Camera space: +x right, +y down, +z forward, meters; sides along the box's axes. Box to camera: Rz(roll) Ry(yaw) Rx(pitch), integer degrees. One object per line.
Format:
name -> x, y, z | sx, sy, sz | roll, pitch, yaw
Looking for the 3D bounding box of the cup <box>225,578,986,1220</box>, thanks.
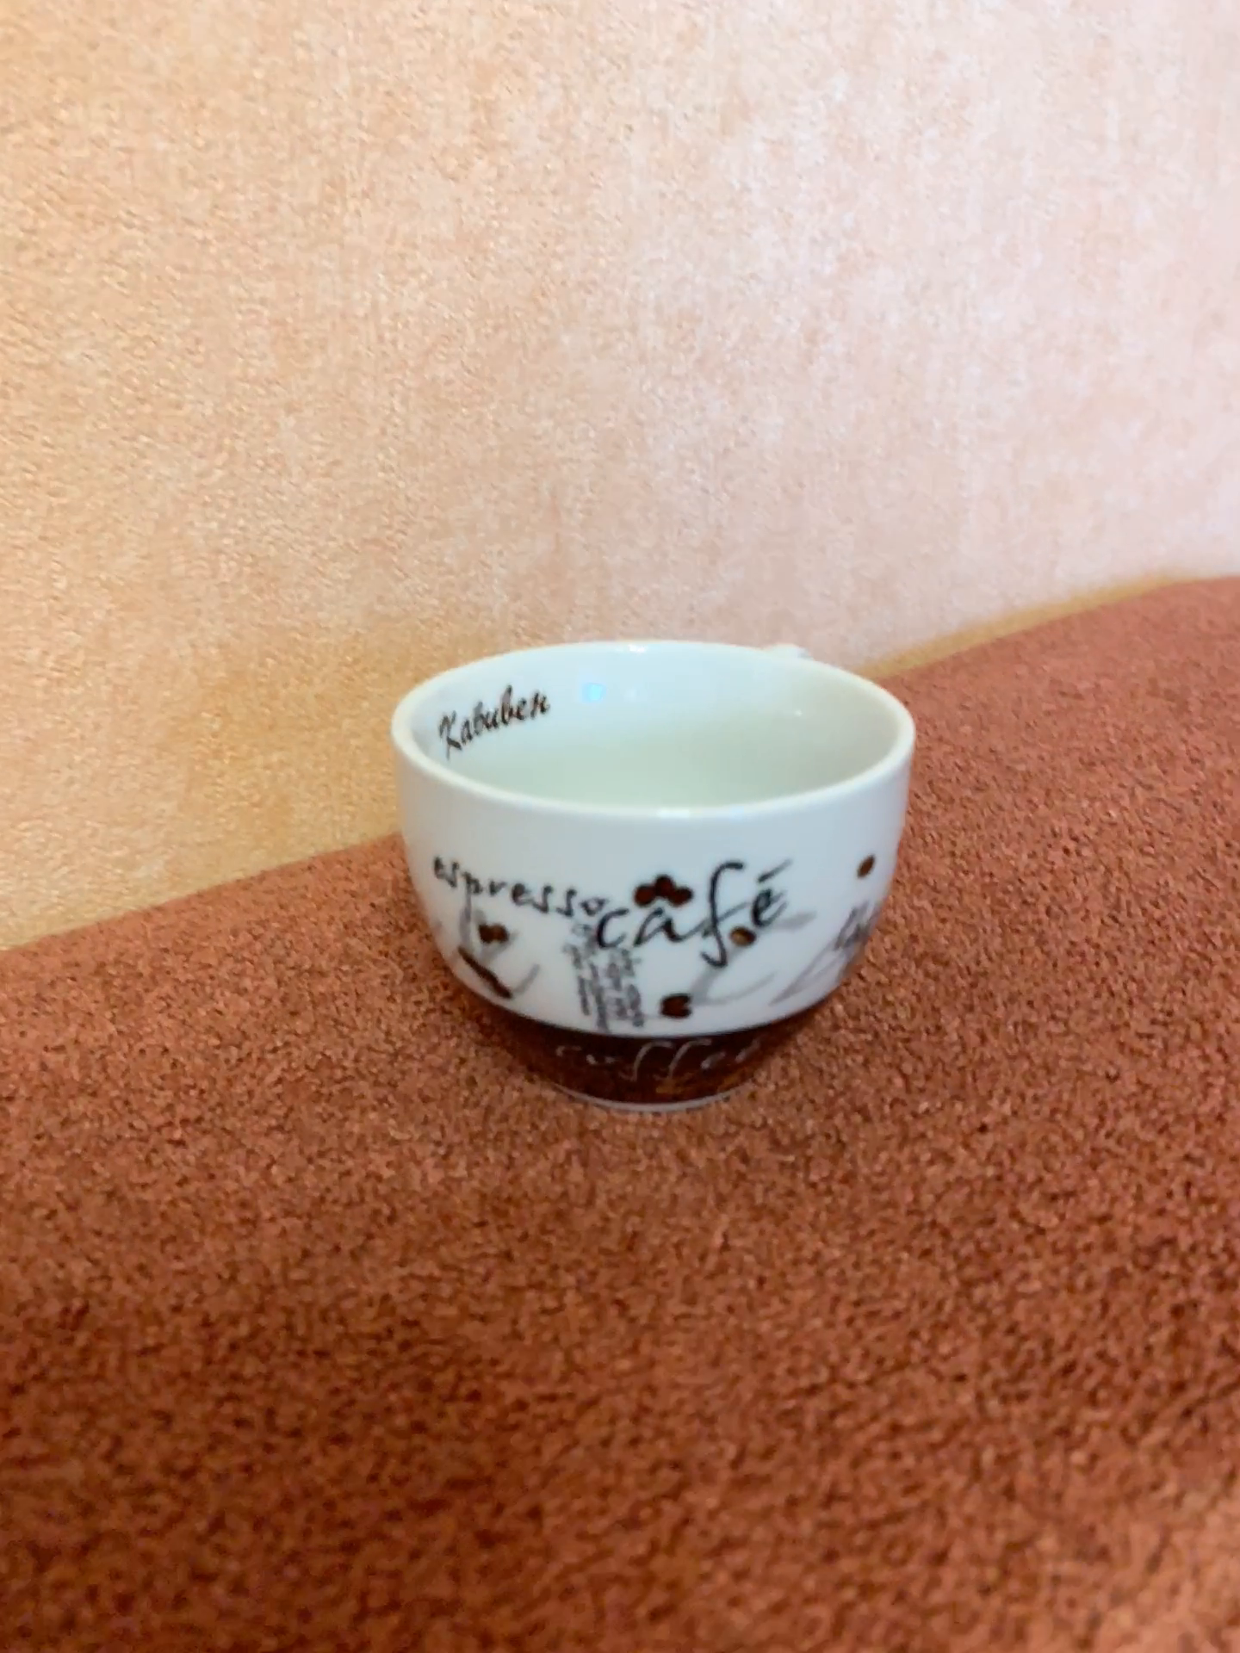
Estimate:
cup -> 0.004, 0.000, 0.172 | 0.065, 0.040, 0.083 | 12, 29, 26
